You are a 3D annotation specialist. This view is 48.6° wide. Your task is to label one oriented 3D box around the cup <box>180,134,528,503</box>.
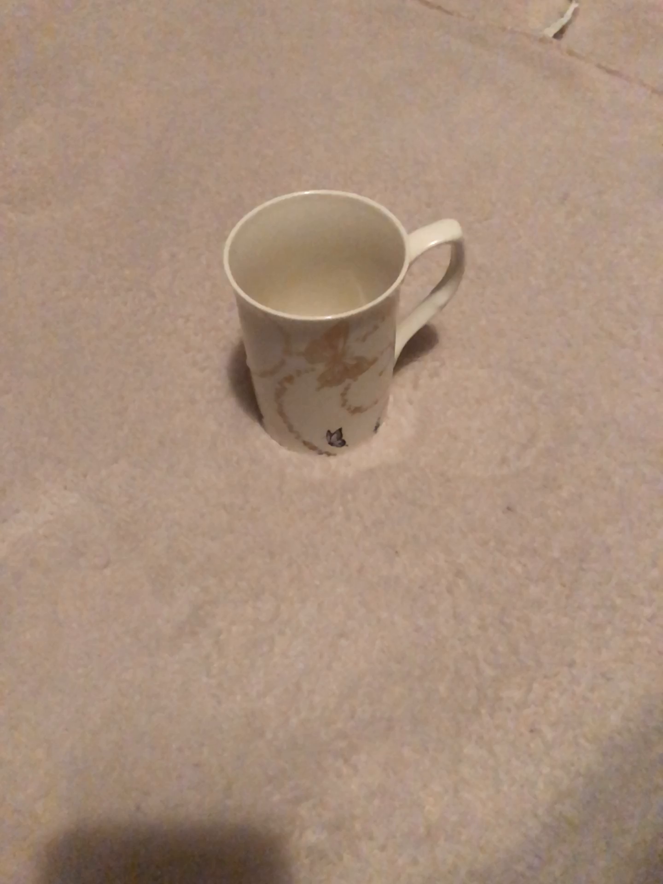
[{"bbox_3d":[0.010,-0.051,0.329,0.112,0.110,0.073,-25,60,-13],"label":"cup"}]
